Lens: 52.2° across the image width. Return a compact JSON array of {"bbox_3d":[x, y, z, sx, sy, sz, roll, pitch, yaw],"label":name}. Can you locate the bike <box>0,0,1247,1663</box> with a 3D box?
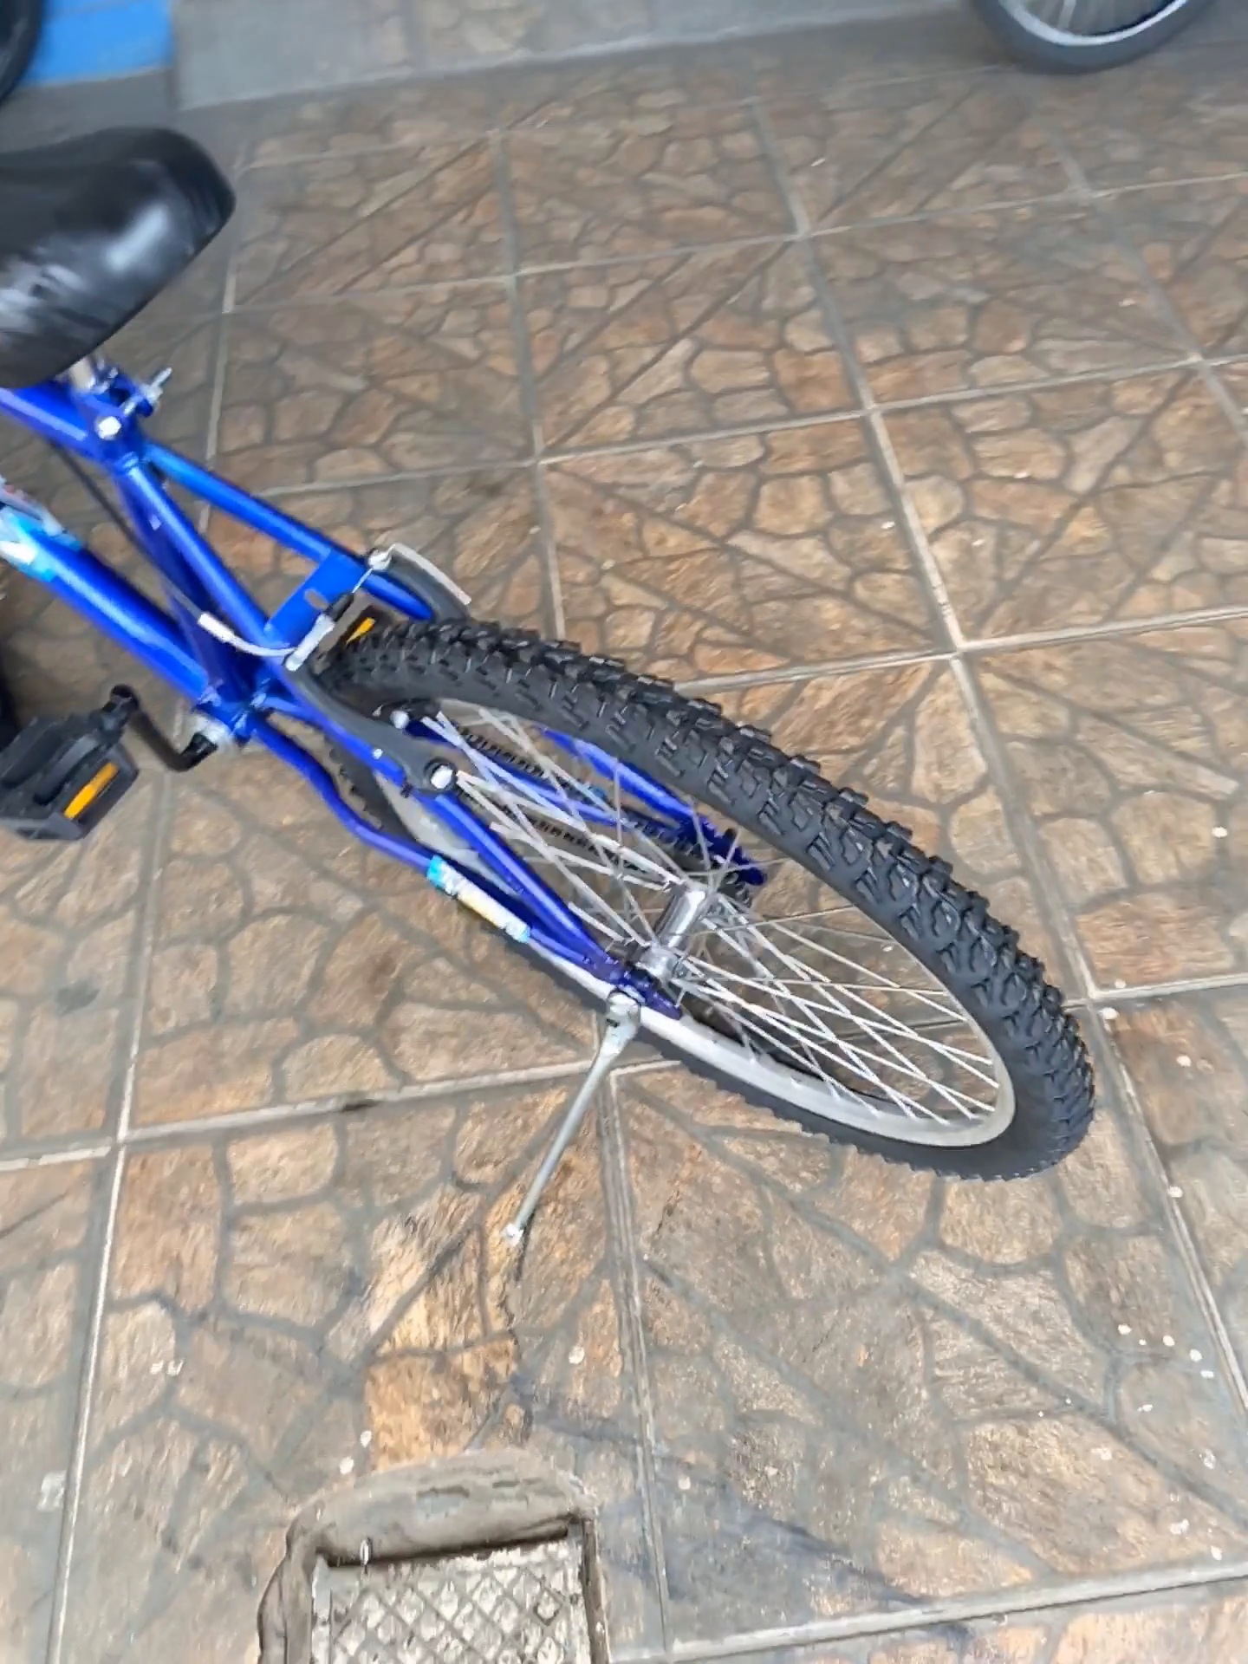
[{"bbox_3d":[-0.349,-0.257,0.908,1.489,0.924,0.624,29,60,23],"label":"bike"}]
